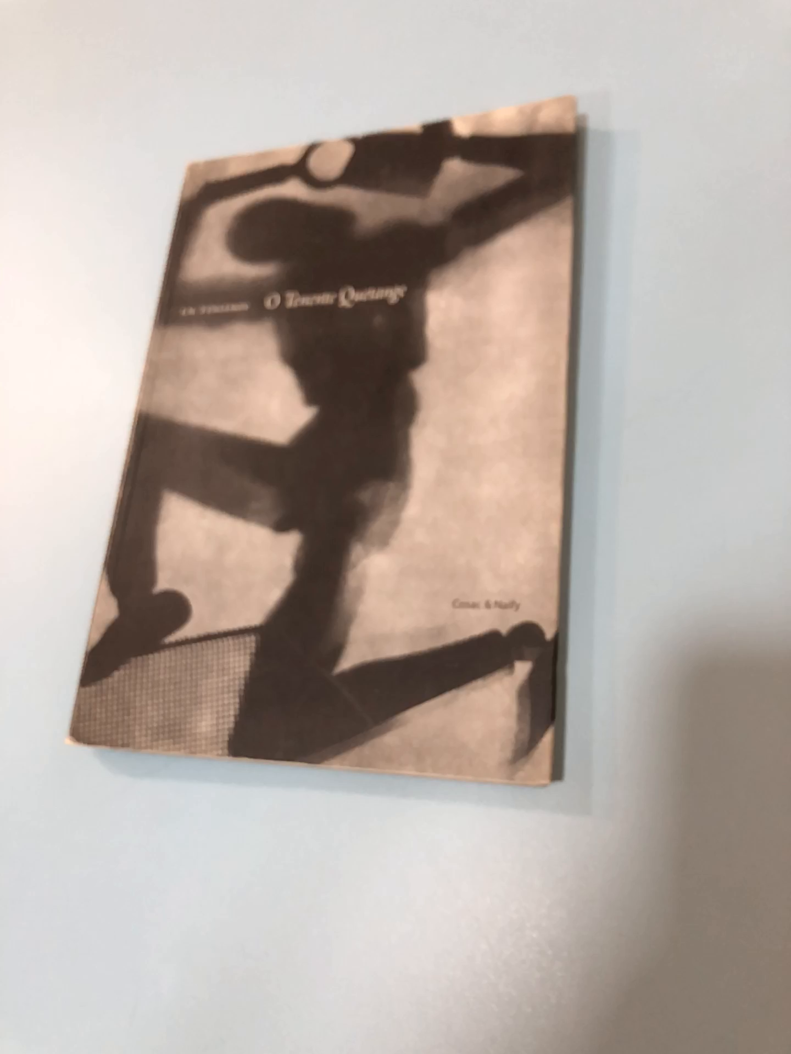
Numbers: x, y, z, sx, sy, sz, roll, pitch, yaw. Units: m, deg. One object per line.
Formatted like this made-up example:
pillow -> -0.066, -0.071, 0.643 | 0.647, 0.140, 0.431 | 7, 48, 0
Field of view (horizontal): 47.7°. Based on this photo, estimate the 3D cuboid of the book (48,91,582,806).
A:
book -> -0.019, -0.029, 0.258 | 0.134, 0.016, 0.197 | 0, 72, 19
